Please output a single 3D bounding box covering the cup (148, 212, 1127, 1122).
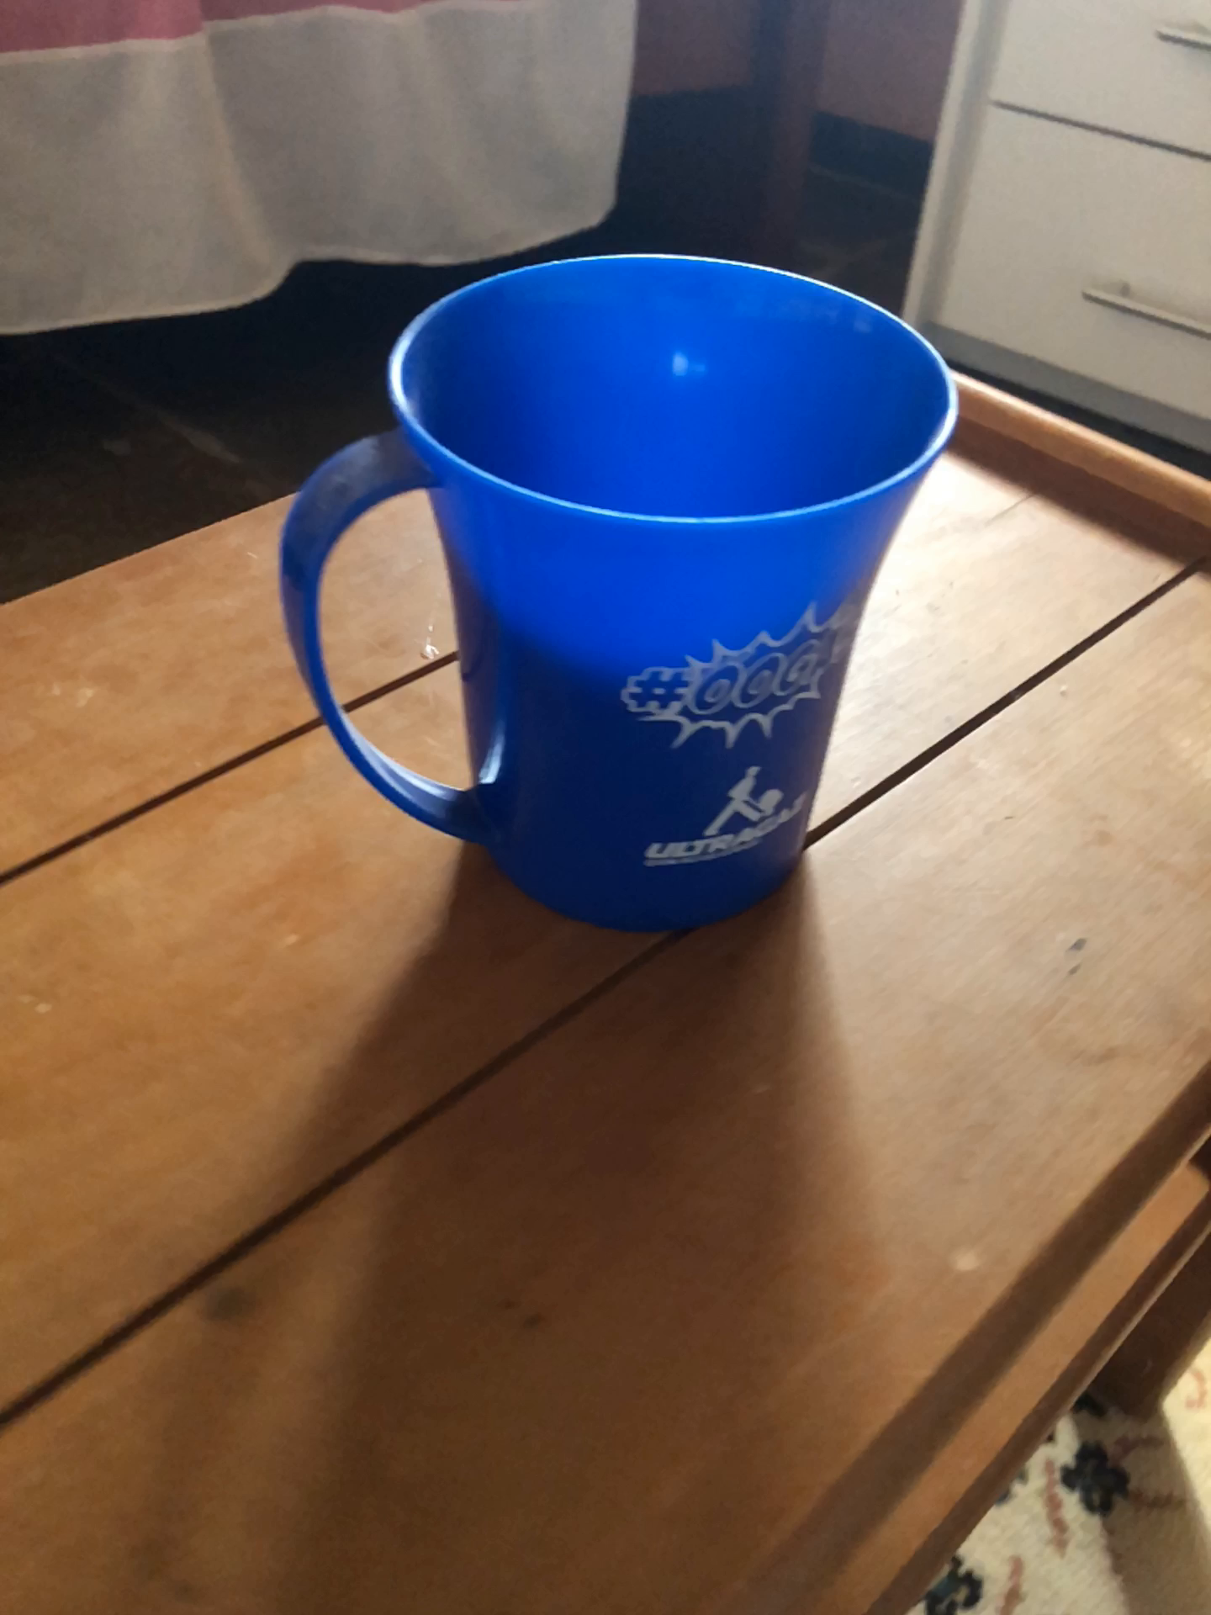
[{"bbox_3d":[-0.001,-0.033,0.243,0.120,0.099,0.101,-17,47,-22],"label":"cup"}]
